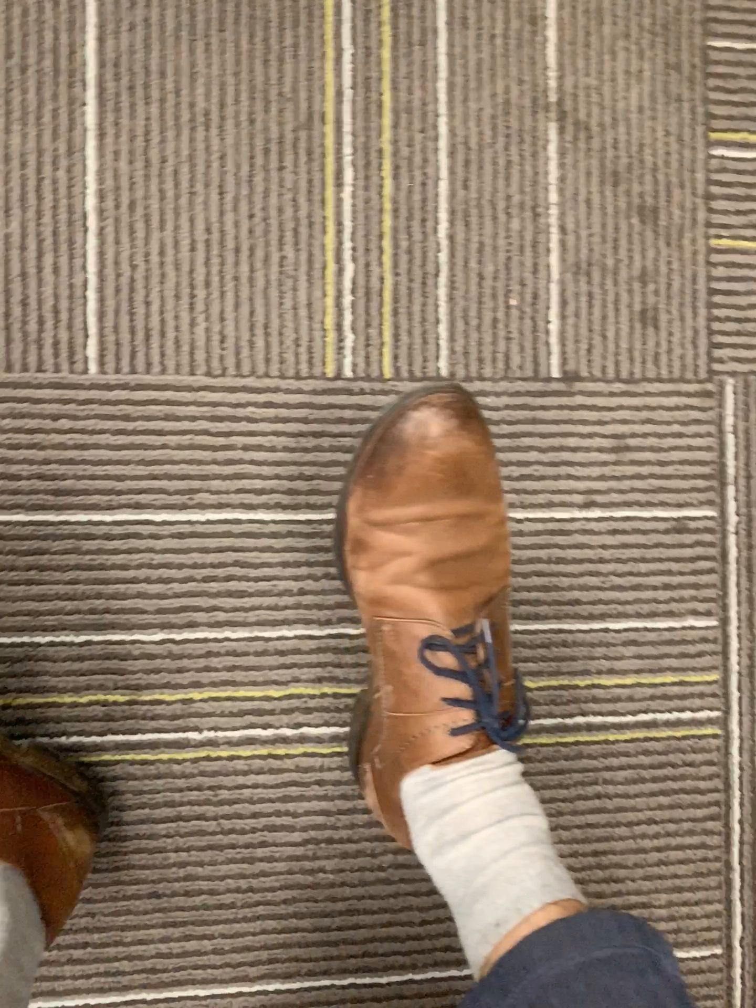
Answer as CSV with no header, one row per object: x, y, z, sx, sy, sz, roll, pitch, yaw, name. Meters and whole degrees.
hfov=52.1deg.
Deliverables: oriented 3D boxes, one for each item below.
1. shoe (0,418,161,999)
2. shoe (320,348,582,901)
-0.240,0.112,0.394,0.120,0.084,0.272,-23,112,6,shoe
0.031,0.063,0.425,0.103,0.074,0.282,-8,111,-26,shoe
